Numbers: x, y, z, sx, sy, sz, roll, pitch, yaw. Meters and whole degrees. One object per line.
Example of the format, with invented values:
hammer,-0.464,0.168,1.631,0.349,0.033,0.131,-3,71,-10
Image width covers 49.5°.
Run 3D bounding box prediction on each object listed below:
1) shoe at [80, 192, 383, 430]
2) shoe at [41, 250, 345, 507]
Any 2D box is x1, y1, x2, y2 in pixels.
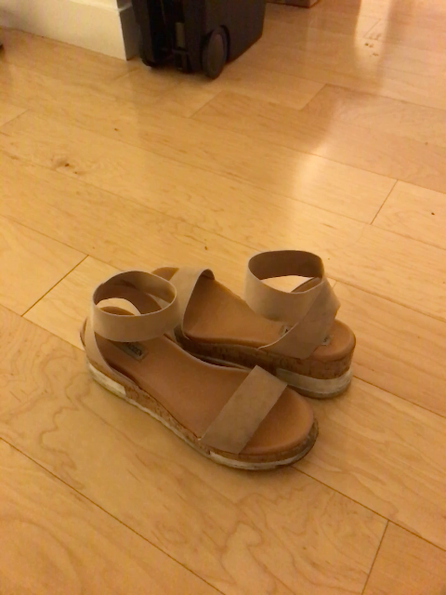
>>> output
shoe,0.004,0.009,0.535,0.290,0.139,0.101,22,53,20
shoe,-0.029,0.075,0.476,0.250,0.139,0.101,22,53,19
